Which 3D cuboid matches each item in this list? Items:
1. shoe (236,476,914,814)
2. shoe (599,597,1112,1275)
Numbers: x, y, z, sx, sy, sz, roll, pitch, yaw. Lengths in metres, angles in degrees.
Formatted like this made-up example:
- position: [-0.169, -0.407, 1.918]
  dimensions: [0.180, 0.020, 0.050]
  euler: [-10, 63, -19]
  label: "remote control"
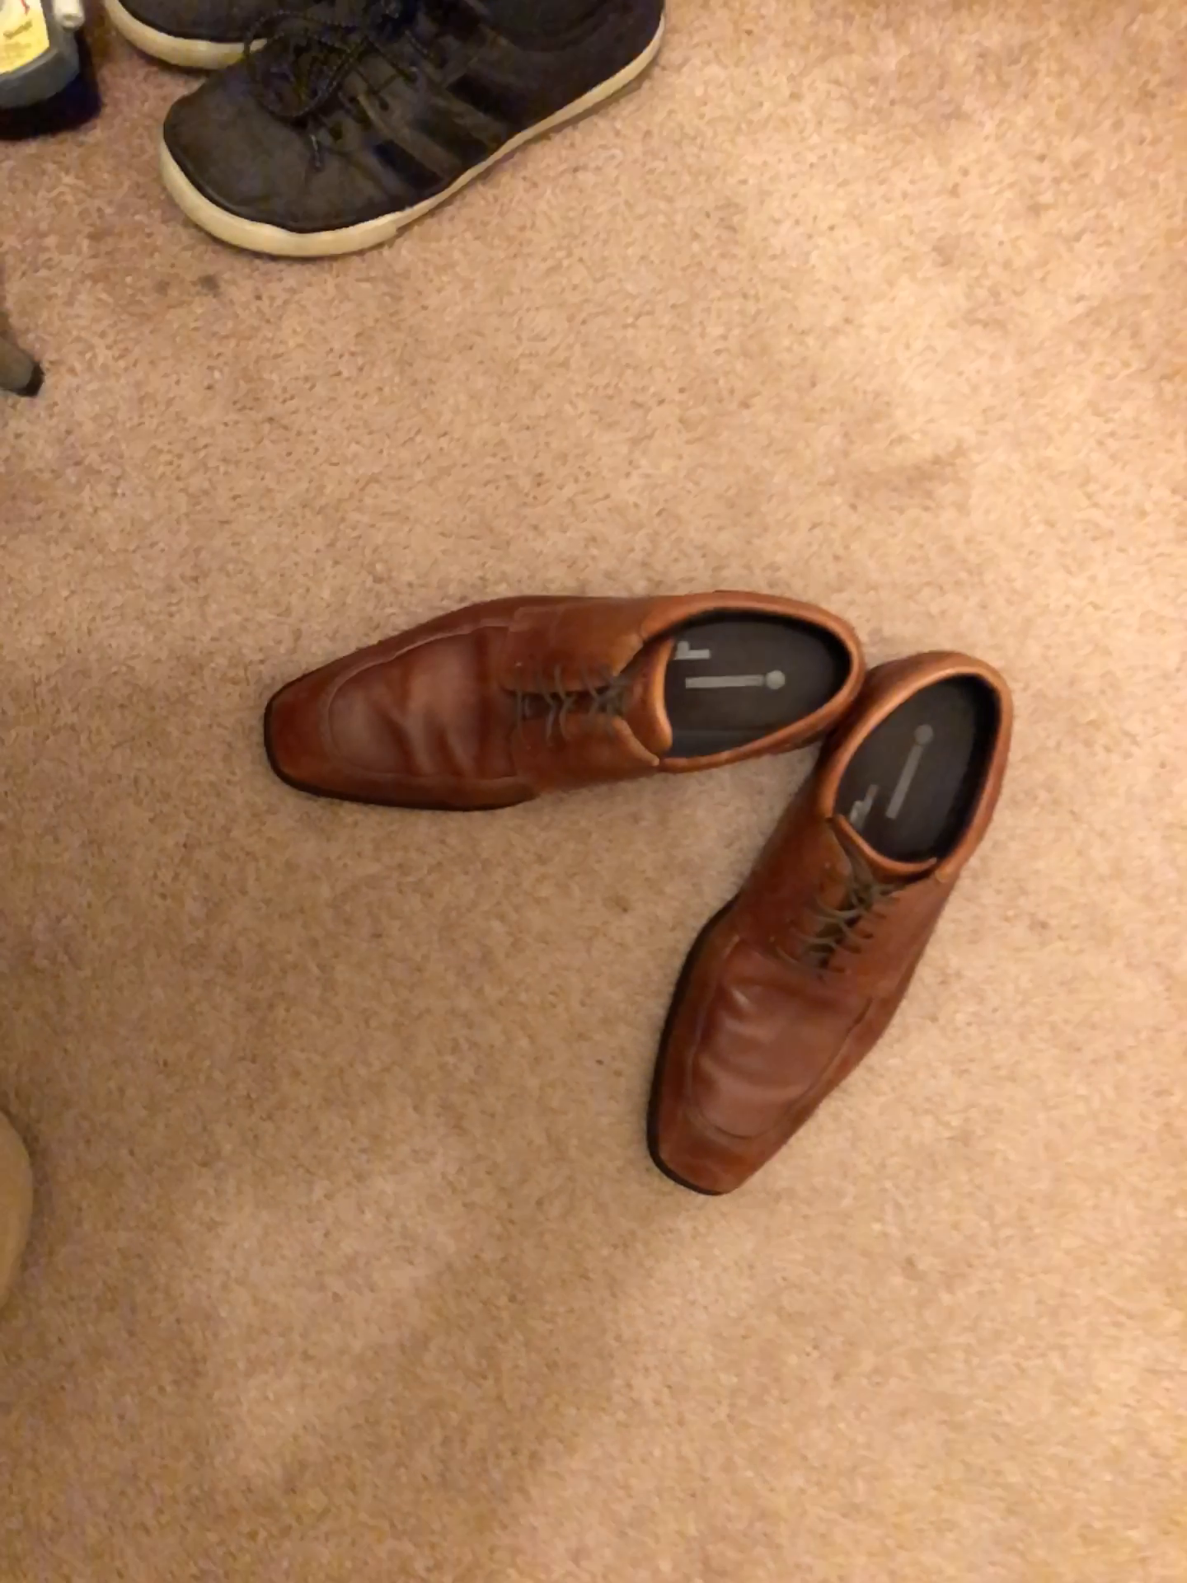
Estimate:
- position: [-0.009, -0.068, 0.664]
  dimensions: [0.300, 0.120, 0.120]
  euler: [-7, 89, -3]
  label: "shoe"
- position: [0.122, 0.066, 0.656]
  dimensions: [0.100, 0.110, 0.300]
  euler: [29, 88, -2]
  label: "shoe"
